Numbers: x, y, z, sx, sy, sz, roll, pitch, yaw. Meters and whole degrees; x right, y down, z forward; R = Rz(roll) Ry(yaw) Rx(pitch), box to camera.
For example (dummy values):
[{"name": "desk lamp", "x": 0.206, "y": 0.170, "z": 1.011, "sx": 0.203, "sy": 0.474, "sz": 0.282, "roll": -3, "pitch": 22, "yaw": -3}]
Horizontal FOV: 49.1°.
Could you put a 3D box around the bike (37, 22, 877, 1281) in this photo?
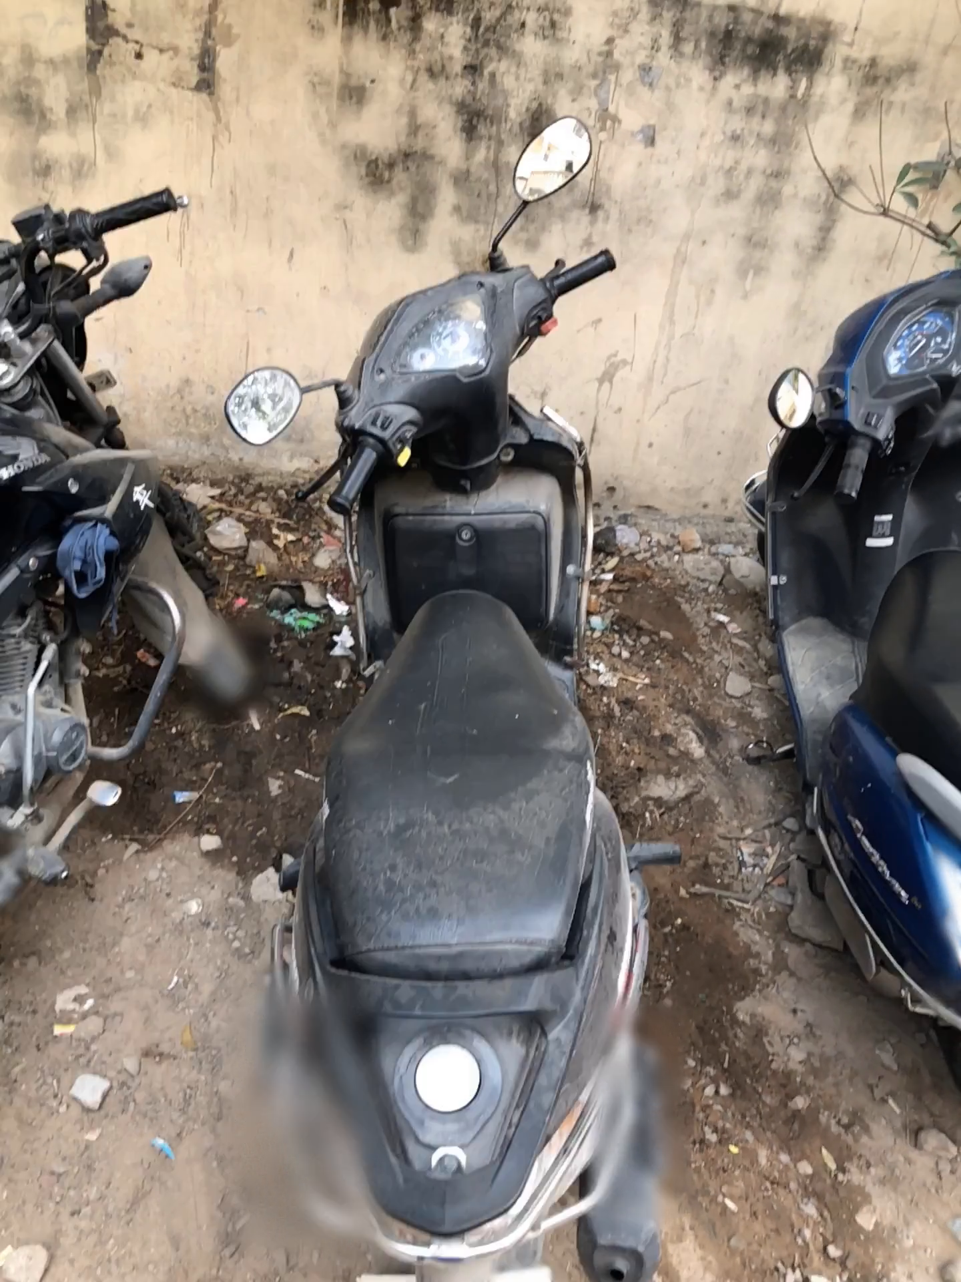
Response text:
[{"name": "bike", "x": -0.171, "y": -0.045, "z": 1.538, "sx": 0.527, "sy": 1.114, "sz": 1.567, "roll": 2, "pitch": 38, "yaw": -10}]
